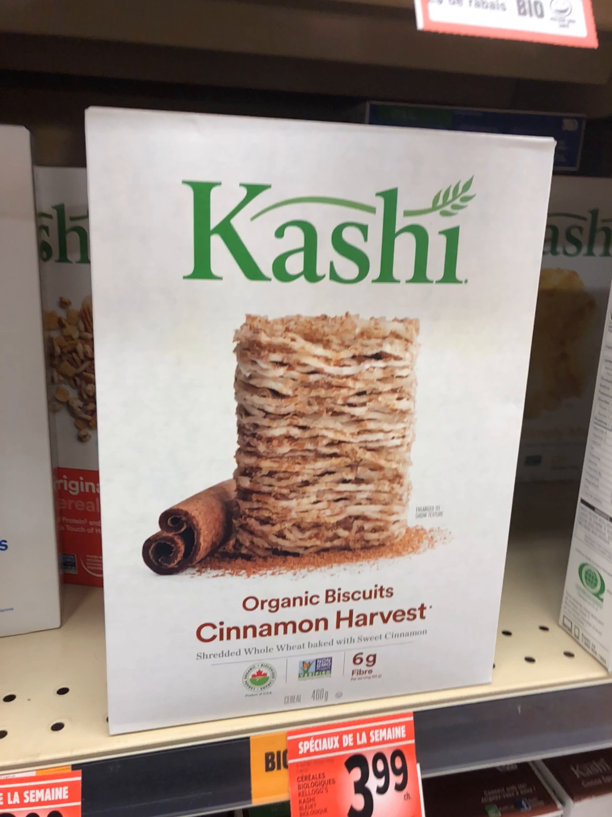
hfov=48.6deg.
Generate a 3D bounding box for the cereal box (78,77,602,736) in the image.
[{"bbox_3d":[0.008,0.004,0.320,0.200,0.269,0.070,-2,17,-13],"label":"cereal box"}]
